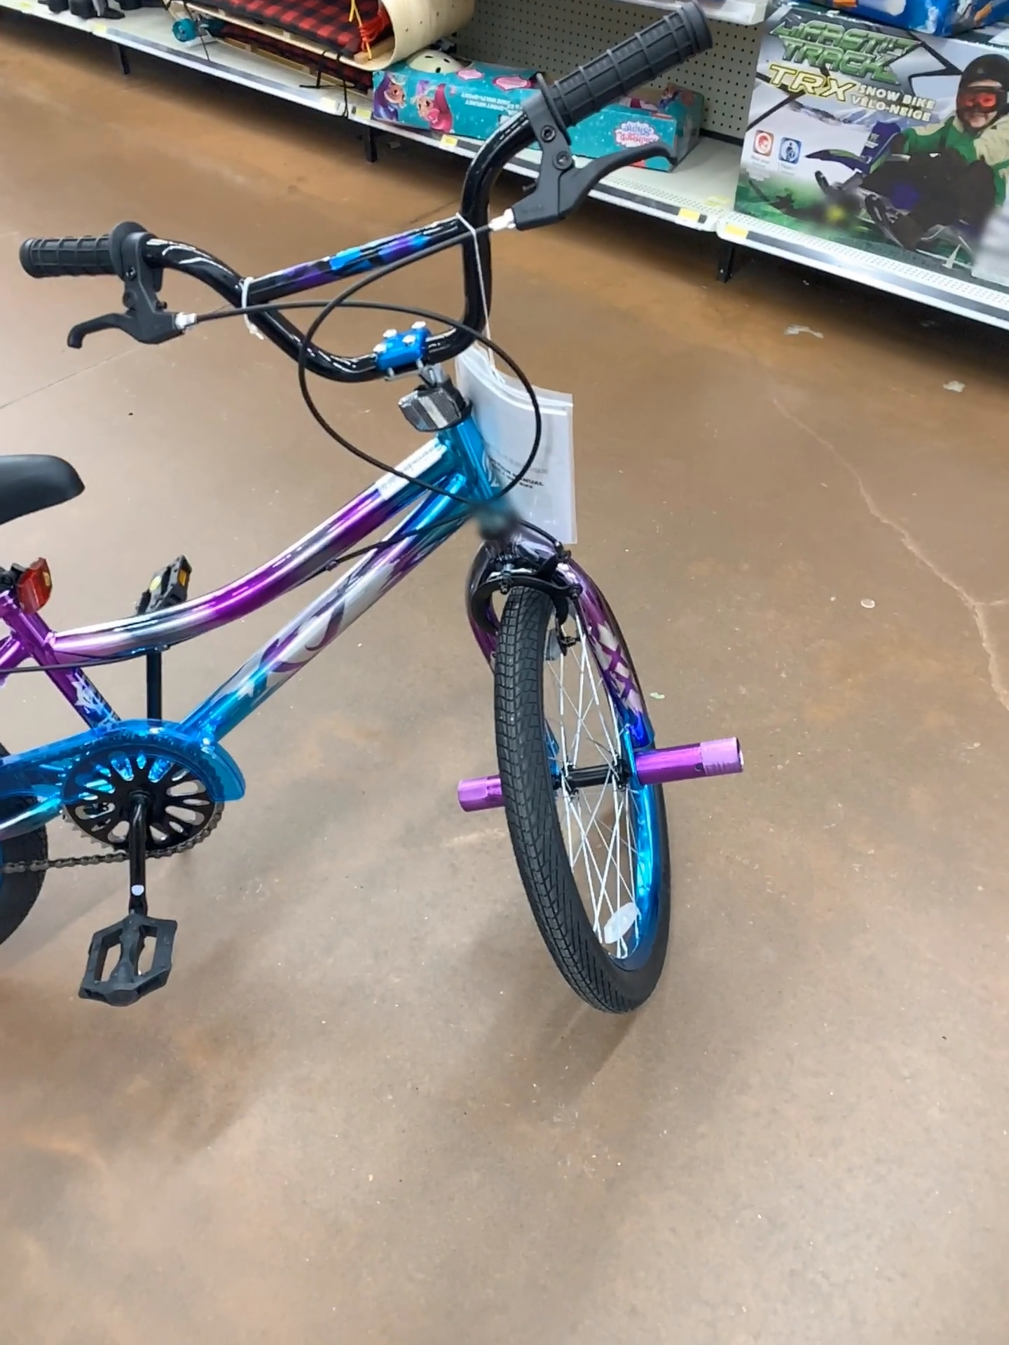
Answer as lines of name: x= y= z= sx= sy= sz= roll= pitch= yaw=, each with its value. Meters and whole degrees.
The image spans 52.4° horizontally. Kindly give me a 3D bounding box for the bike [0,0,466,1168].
bike: x=-0.511 y=-0.080 z=0.942 sx=0.933 sy=0.931 sz=0.580 roll=-4 pitch=45 yaw=-5
